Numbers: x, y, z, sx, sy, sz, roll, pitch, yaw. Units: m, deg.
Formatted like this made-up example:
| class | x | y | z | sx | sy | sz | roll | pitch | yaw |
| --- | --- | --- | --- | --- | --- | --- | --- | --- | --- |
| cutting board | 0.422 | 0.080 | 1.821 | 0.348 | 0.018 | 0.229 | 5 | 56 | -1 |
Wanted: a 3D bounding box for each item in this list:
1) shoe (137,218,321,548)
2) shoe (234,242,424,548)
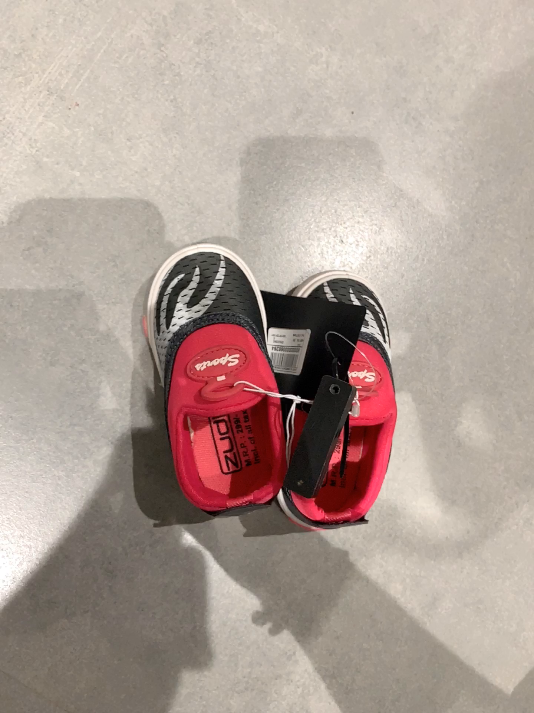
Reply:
| class | x | y | z | sx | sy | sz | roll | pitch | yaw |
| --- | --- | --- | --- | --- | --- | --- | --- | --- | --- |
| shoe | -0.022 | 0.011 | 0.278 | 0.060 | 0.060 | 0.140 | -10 | 90 | -12 |
| shoe | 0.030 | 0.021 | 0.297 | 0.070 | 0.060 | 0.140 | 8 | 86 | -11 |
